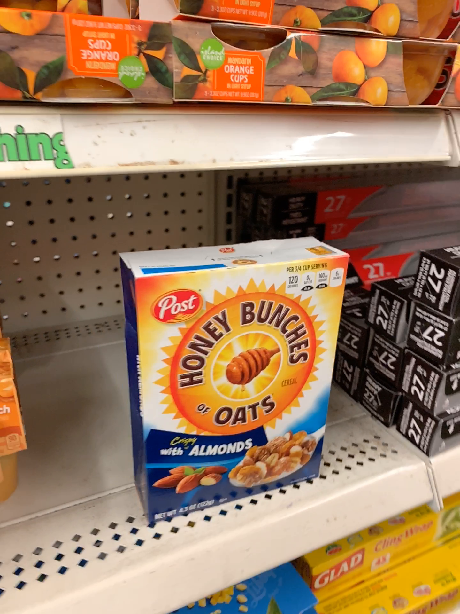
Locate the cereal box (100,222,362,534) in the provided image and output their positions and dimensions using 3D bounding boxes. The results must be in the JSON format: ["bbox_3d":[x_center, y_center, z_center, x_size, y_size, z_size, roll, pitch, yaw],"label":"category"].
[{"bbox_3d":[0.000,0.047,0.327,0.150,0.189,0.050,-8,26,-18],"label":"cereal box"}]
